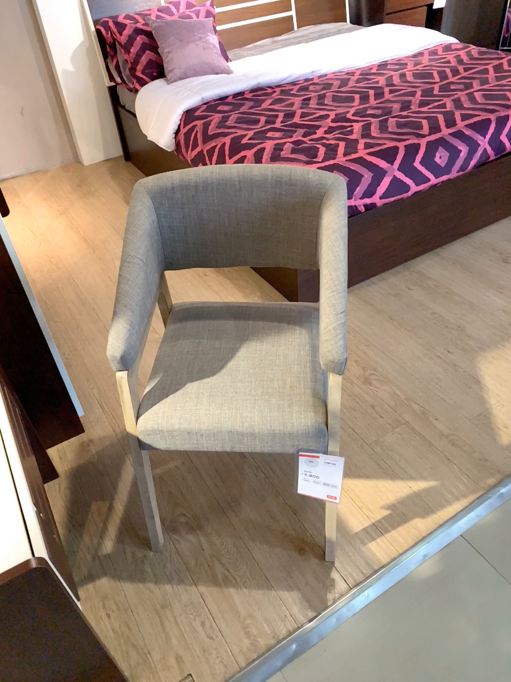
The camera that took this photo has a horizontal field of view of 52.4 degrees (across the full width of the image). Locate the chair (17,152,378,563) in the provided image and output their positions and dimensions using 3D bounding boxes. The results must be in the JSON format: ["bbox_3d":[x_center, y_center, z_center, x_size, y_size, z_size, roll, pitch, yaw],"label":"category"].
[{"bbox_3d":[-0.047,0.058,1.271,0.560,0.797,0.582,0,41,6],"label":"chair"}]
